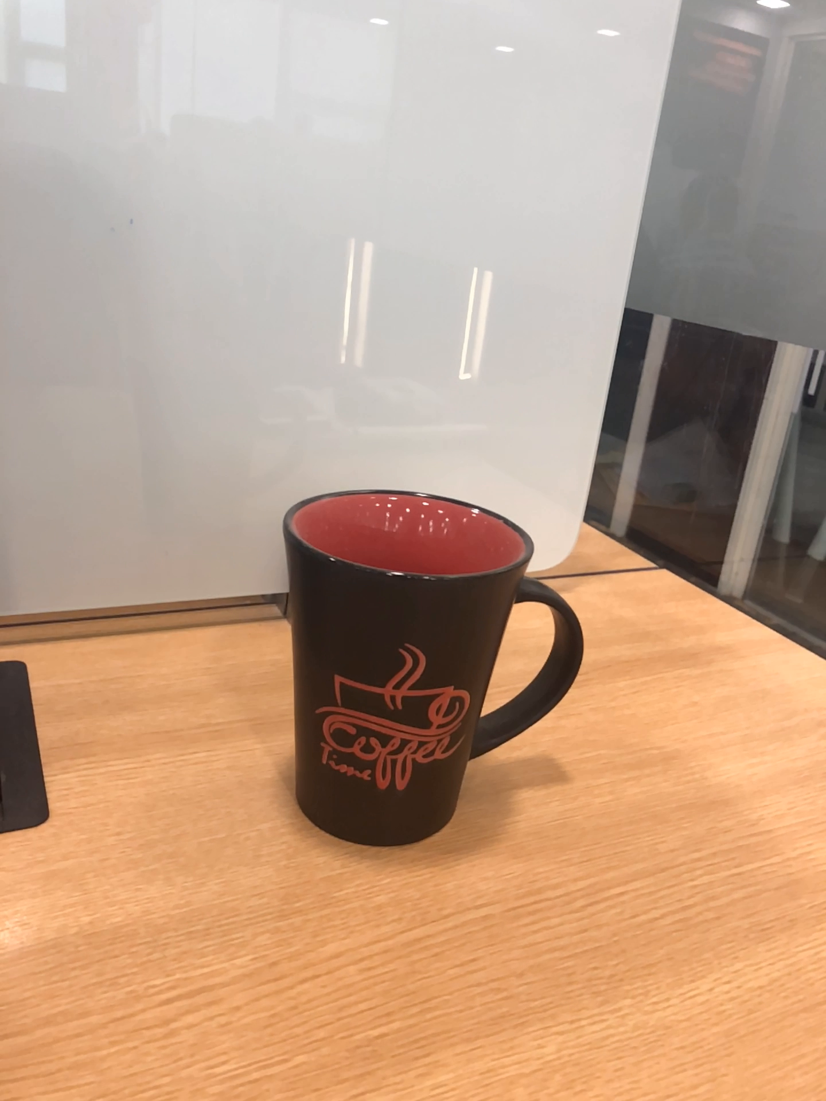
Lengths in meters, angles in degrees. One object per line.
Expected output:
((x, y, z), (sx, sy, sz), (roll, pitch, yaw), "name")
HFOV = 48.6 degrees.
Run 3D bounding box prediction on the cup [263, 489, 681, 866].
((0.012, 0.040, 0.337), (0.120, 0.100, 0.090), (1, 21, -16), "cup")
